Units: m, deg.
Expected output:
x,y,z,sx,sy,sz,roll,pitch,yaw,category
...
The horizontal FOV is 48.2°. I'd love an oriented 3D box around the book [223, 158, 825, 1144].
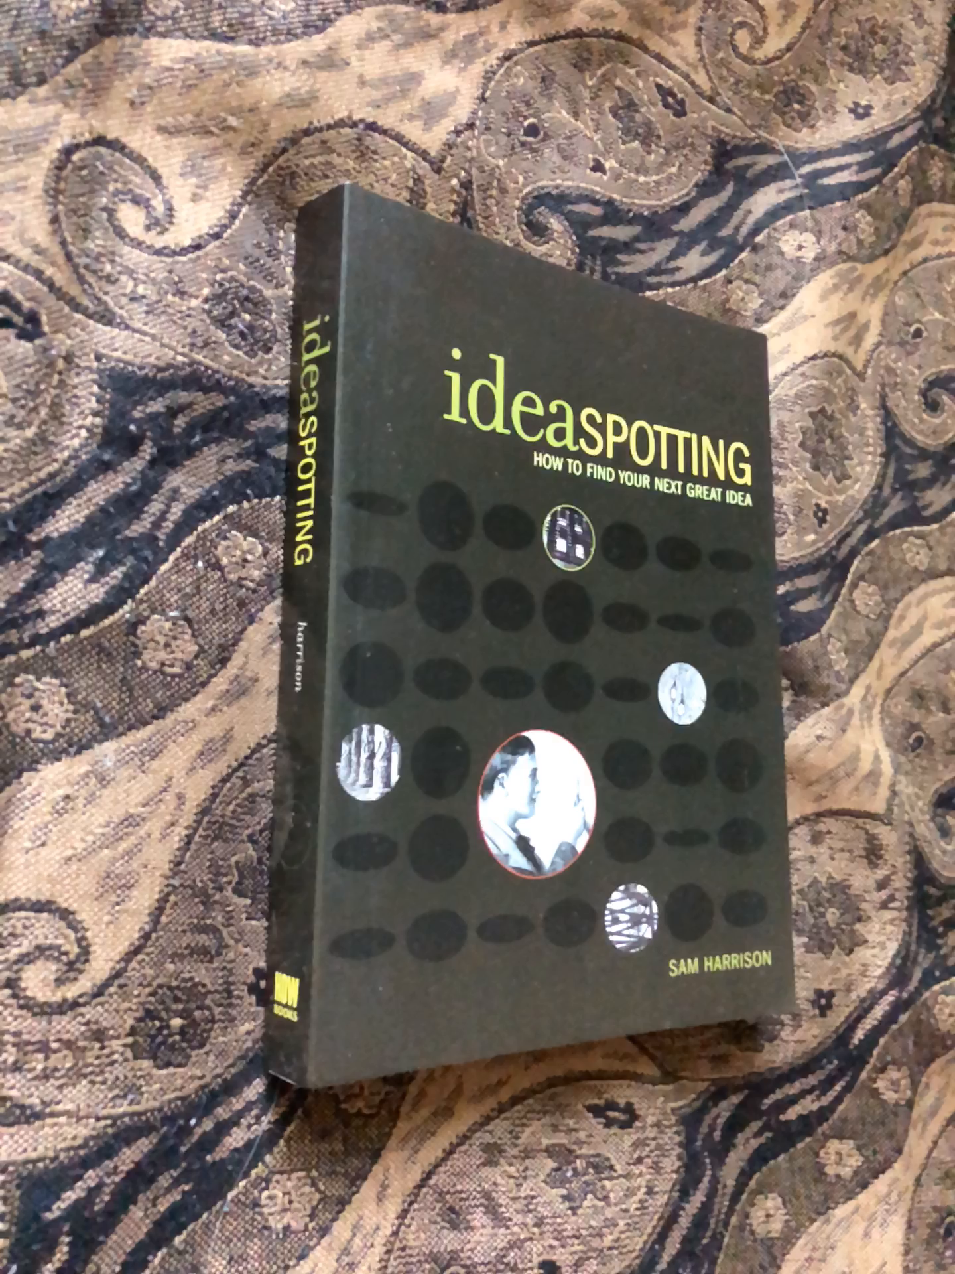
x,y,z,sx,sy,sz,roll,pitch,yaw,category
0.018,0.005,0.251,0.141,0.040,0.180,5,82,-35,book
